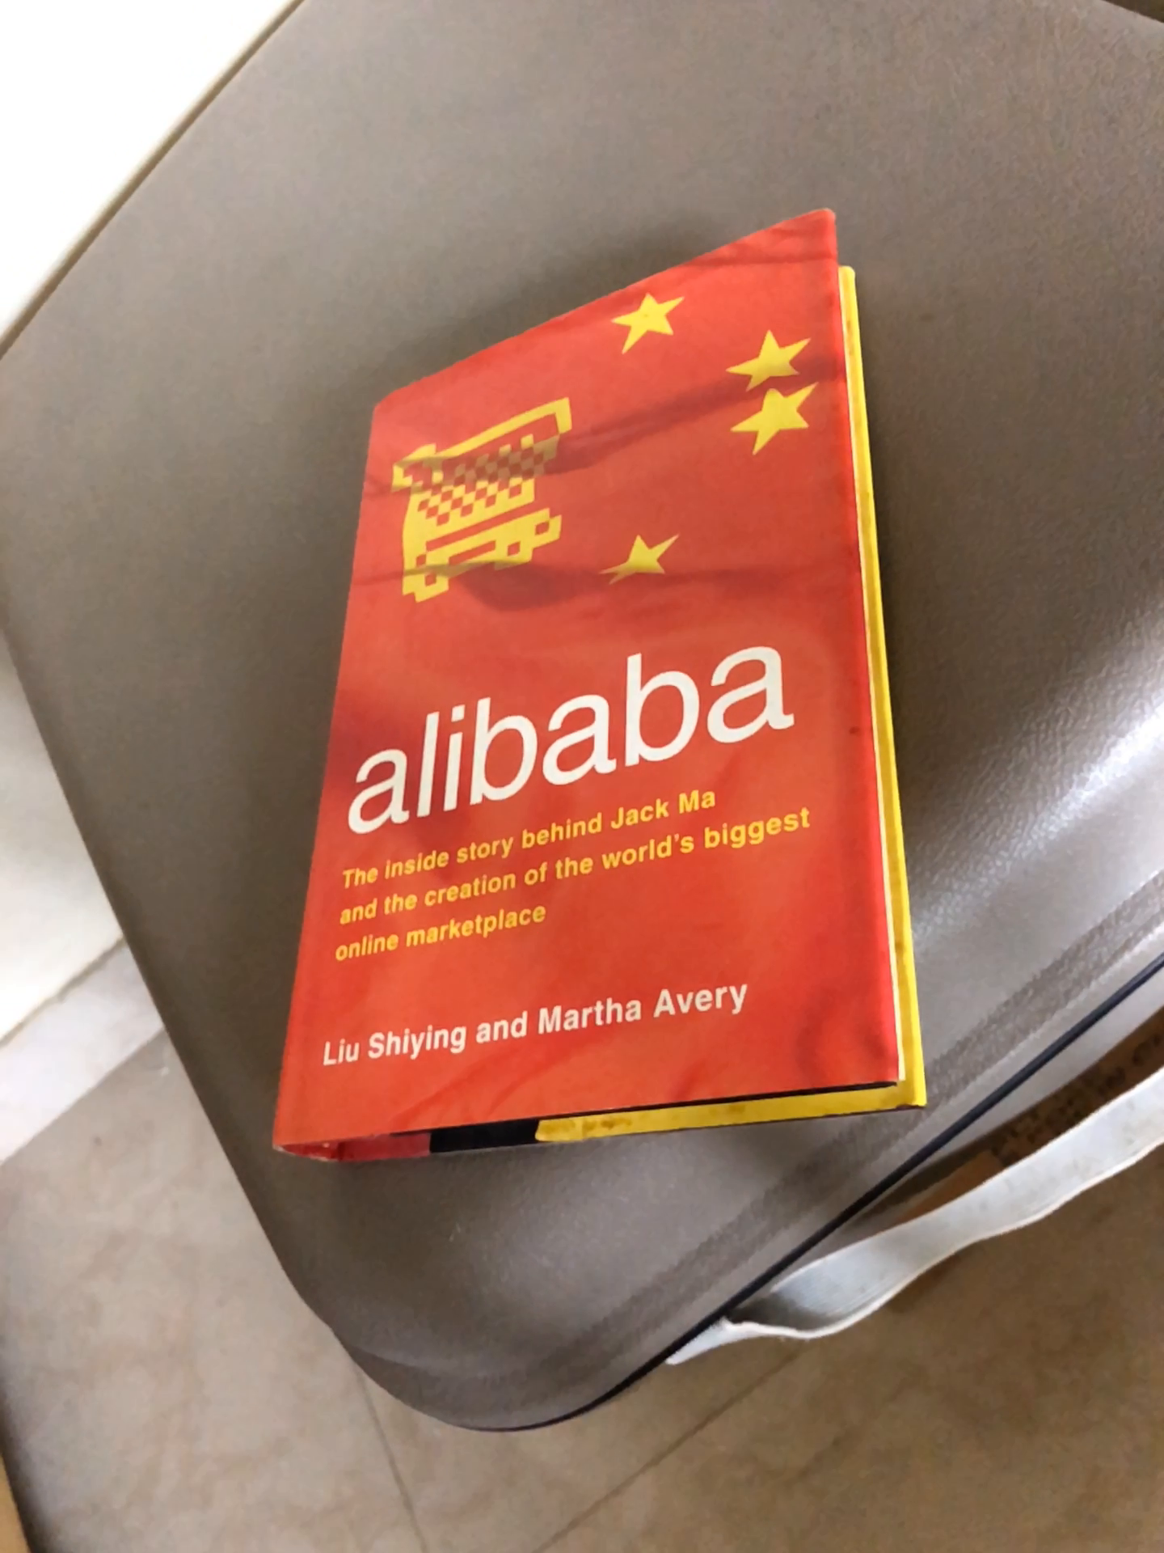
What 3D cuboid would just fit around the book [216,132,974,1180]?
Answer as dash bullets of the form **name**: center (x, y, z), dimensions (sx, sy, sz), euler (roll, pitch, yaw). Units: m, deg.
- **book**: center (0.001, -0.038, 0.340), dimensions (0.160, 0.040, 0.260), euler (-12, 58, 23)
